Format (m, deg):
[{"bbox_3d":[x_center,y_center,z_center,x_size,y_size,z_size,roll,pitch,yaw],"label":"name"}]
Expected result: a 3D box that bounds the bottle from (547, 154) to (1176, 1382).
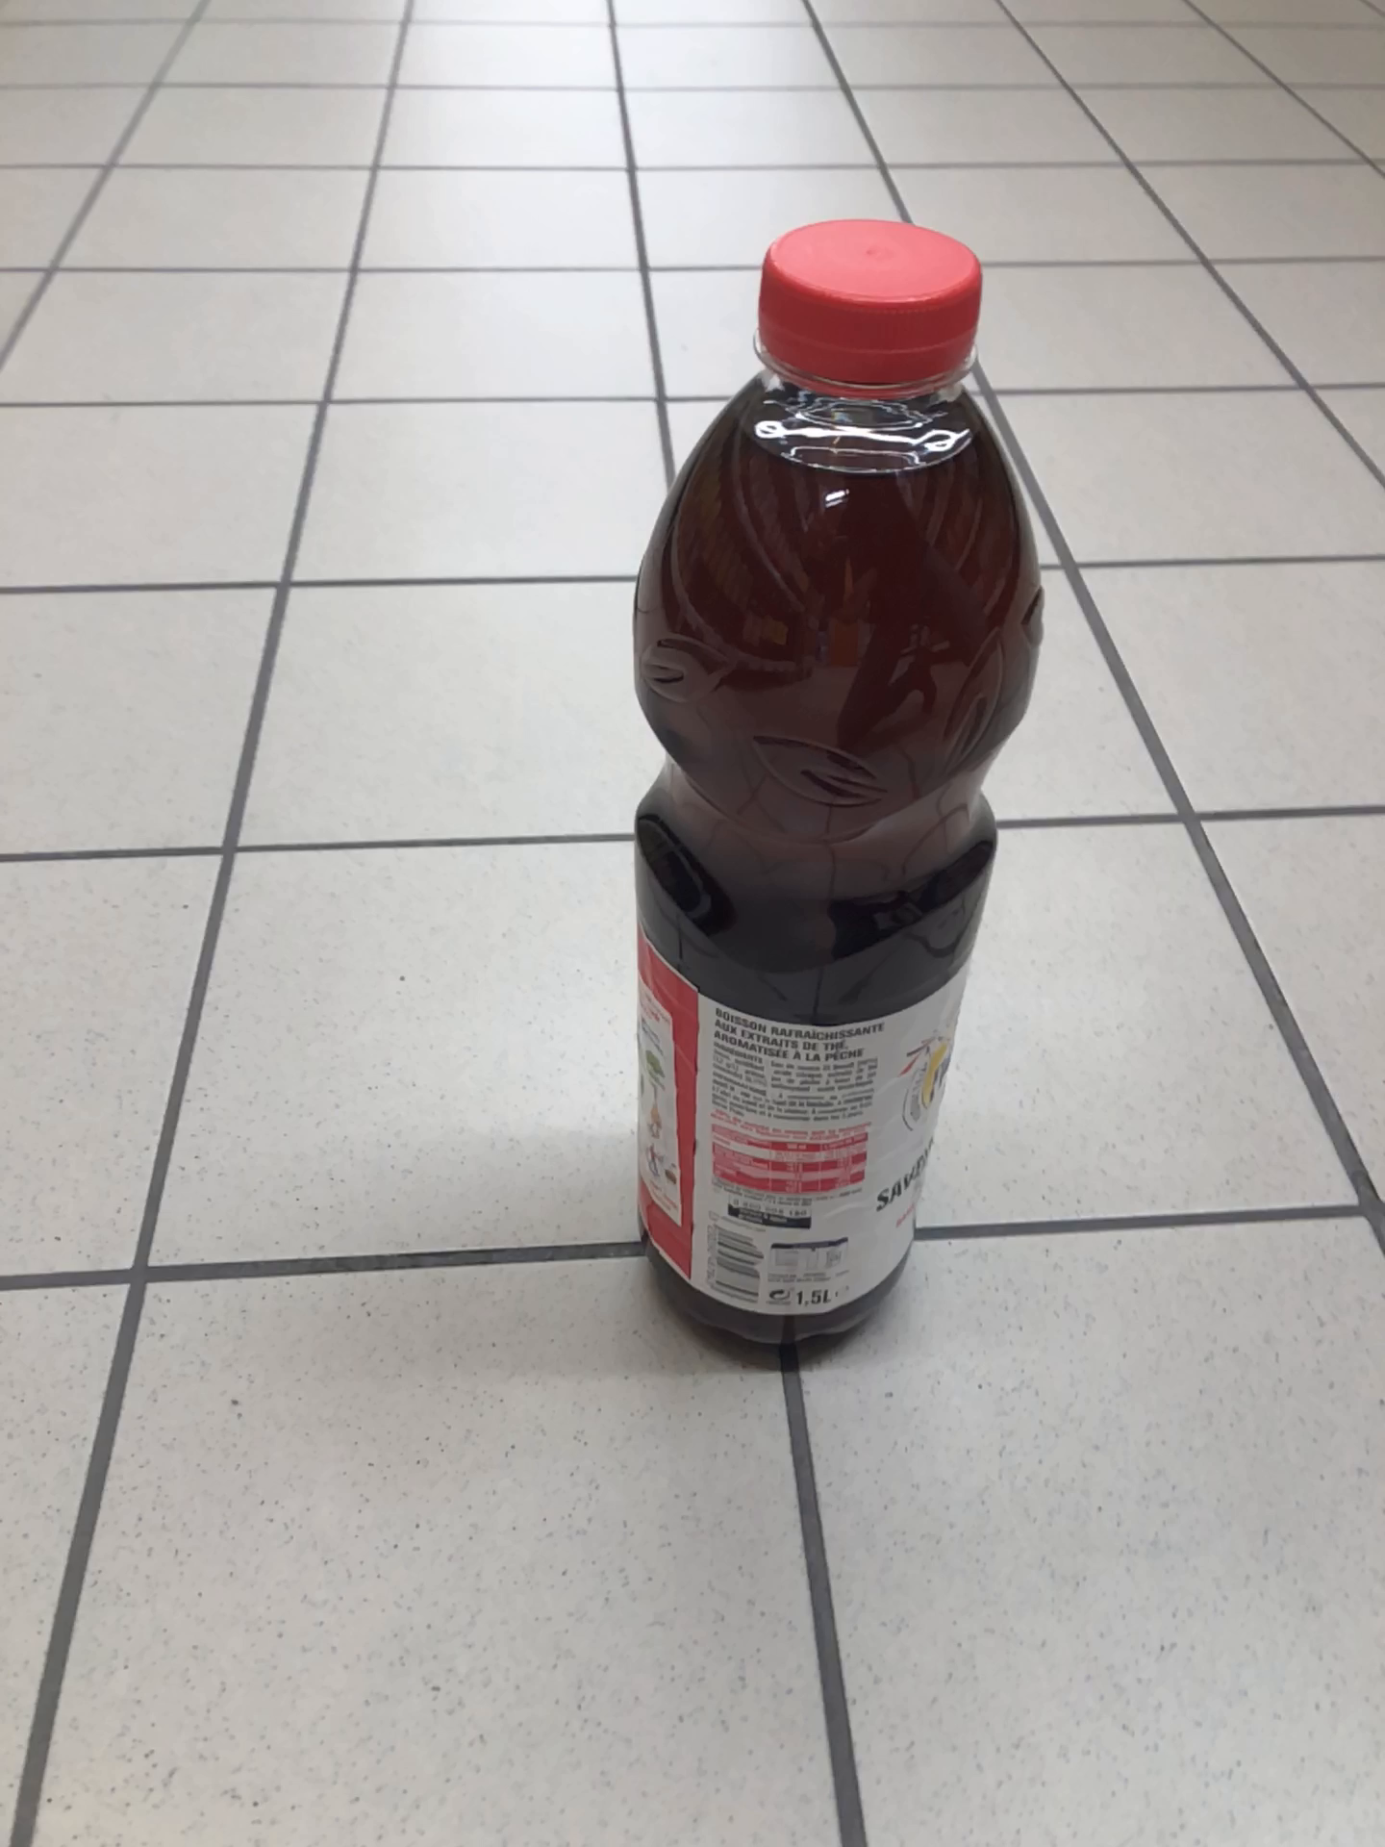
[{"bbox_3d":[0.021,-0.013,0.363,0.090,0.288,0.090,1,43,-1],"label":"bottle"}]
